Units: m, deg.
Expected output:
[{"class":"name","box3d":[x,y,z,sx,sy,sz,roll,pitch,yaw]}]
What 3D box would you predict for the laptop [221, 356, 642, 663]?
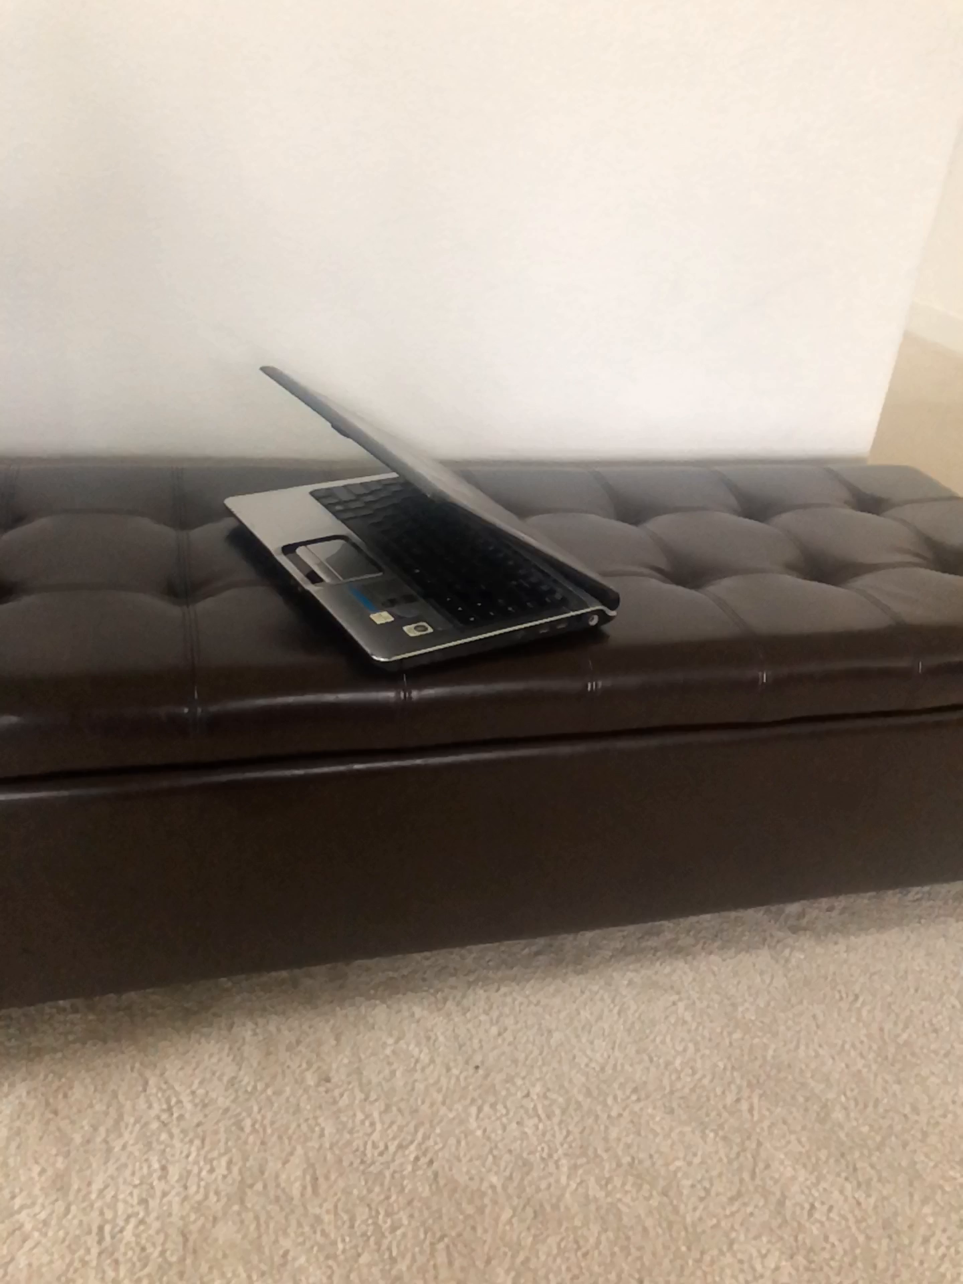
[{"class":"laptop","box3d":[-0.060,-0.138,0.925,0.230,0.122,0.334,-13,34,-30]}]
